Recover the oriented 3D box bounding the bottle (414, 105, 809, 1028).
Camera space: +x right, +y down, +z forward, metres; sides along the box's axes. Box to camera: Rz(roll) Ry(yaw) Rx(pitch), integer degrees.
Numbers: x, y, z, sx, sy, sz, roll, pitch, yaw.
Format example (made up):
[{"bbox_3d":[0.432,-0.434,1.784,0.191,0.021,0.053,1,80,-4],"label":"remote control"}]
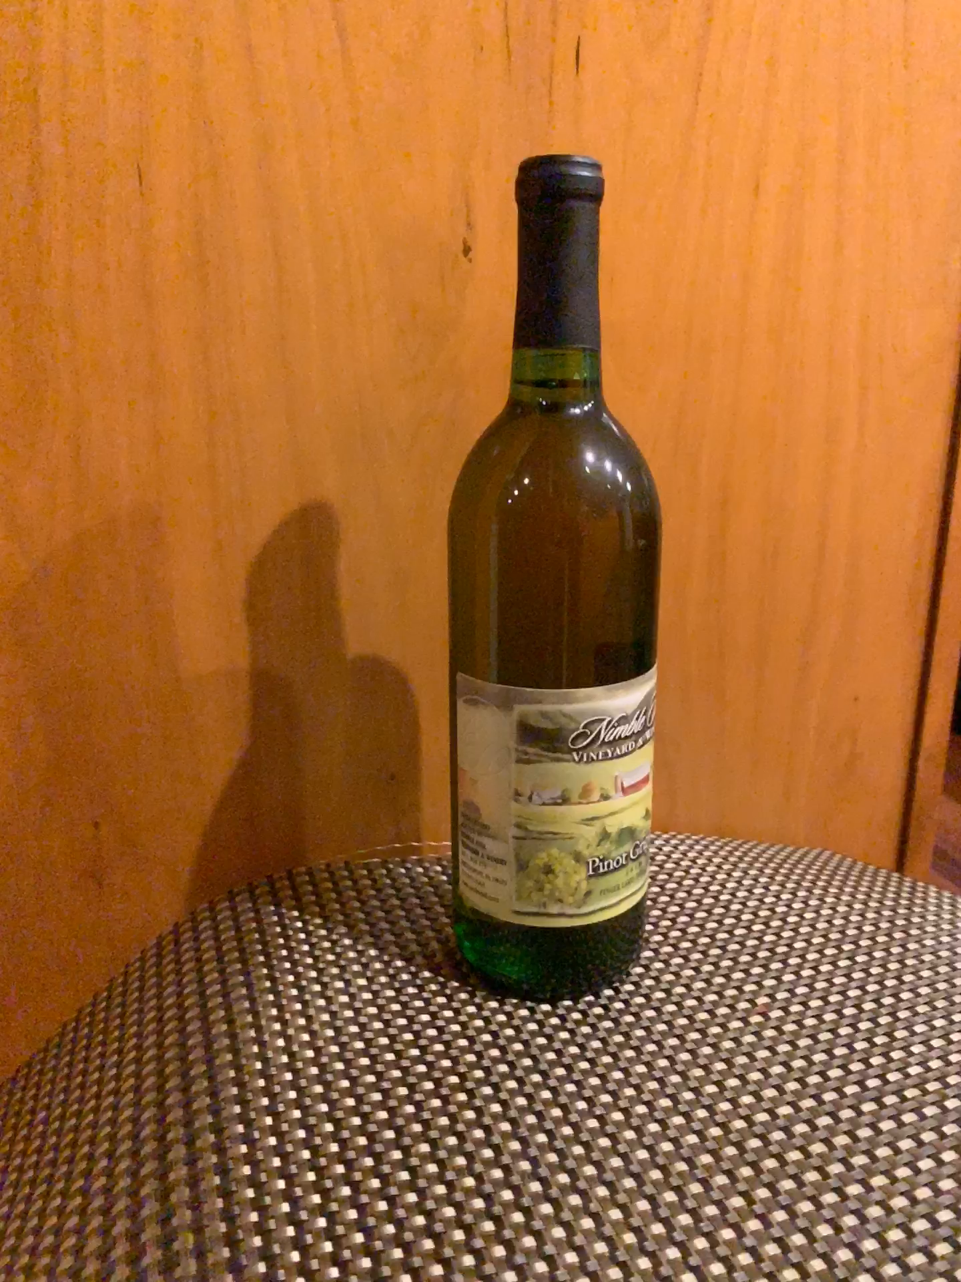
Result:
[{"bbox_3d":[0.039,-0.021,0.341,0.090,0.269,0.080,-11,19,-35],"label":"bottle"}]
